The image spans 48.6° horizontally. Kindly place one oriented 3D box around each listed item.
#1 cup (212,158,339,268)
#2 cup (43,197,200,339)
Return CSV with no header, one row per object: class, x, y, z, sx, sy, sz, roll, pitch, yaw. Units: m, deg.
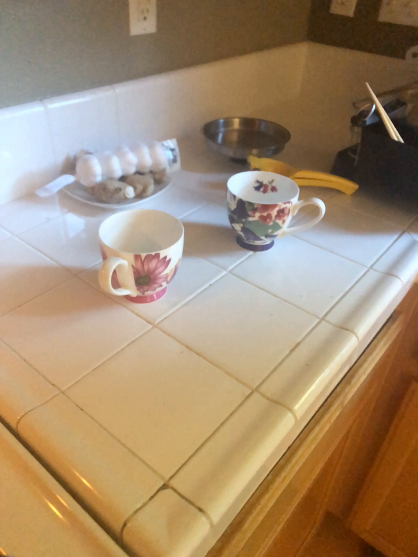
cup,0.098,-0.103,0.695,0.150,0.089,0.111,19,40,19
cup,-0.101,-0.021,0.569,0.110,0.079,0.151,24,42,25
